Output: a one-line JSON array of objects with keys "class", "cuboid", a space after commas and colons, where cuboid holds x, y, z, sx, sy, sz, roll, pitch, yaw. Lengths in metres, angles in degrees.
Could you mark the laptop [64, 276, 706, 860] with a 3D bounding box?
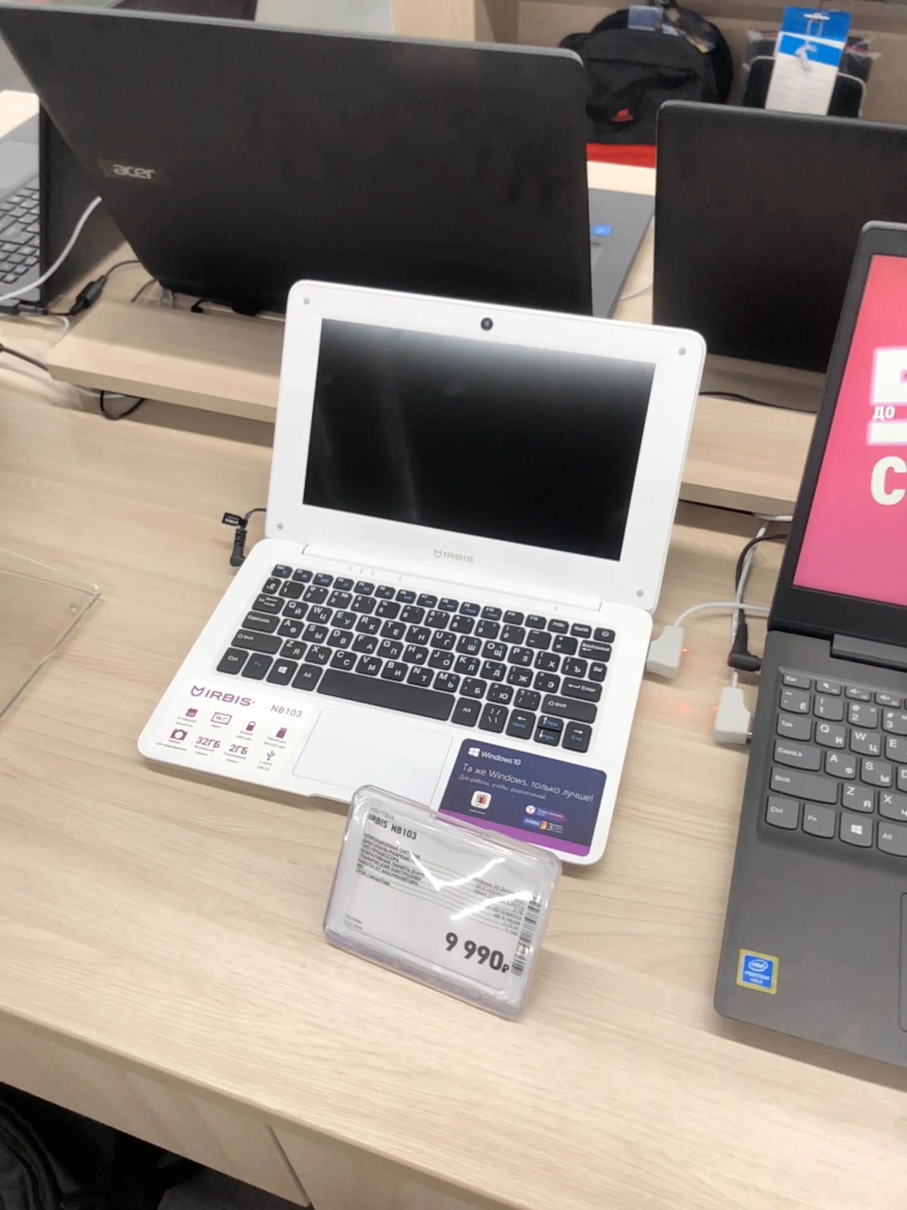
[{"class": "laptop", "cuboid": [-0.018, -0.048, 0.652, 0.296, 0.144, 0.319, 11, 50, 14]}]
